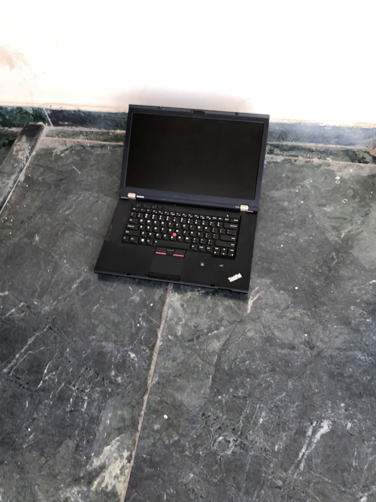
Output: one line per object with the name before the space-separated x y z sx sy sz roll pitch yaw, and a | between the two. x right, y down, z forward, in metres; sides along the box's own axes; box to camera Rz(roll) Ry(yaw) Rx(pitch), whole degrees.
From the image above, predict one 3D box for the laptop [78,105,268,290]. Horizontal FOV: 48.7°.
laptop | -0.008 -0.130 0.879 0.310 0.115 0.376 7 58 8
